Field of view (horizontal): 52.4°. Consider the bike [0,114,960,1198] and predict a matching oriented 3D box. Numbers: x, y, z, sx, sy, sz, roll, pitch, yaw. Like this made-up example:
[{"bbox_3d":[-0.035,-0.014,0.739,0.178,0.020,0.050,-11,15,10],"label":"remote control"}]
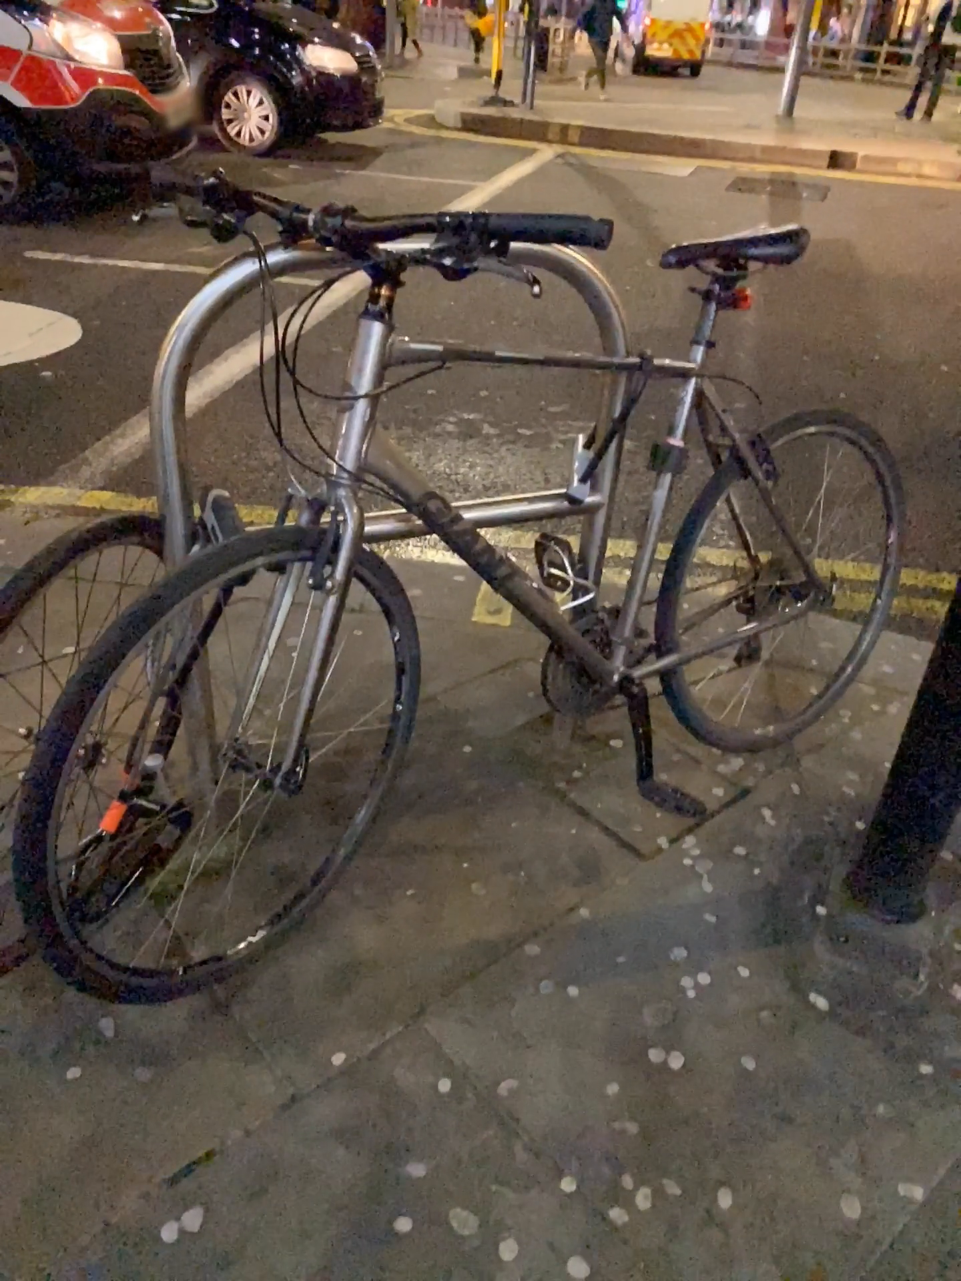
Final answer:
[{"bbox_3d":[0.094,-0.194,1.643,1.824,1.124,0.710,-19,39,-33],"label":"bike"}]
